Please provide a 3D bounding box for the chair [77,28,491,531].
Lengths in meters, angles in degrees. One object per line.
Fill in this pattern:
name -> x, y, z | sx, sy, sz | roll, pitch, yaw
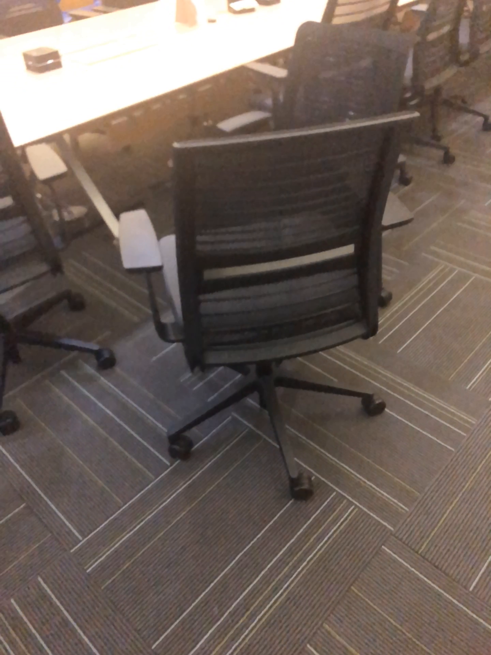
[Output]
chair -> 0.050, -0.137, 1.427 | 0.721, 0.962, 0.715 | -12, 40, -9

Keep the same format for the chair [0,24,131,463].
chair -> -0.901, -0.288, 1.685 | 0.732, 0.962, 0.724 | -20, 42, -18
